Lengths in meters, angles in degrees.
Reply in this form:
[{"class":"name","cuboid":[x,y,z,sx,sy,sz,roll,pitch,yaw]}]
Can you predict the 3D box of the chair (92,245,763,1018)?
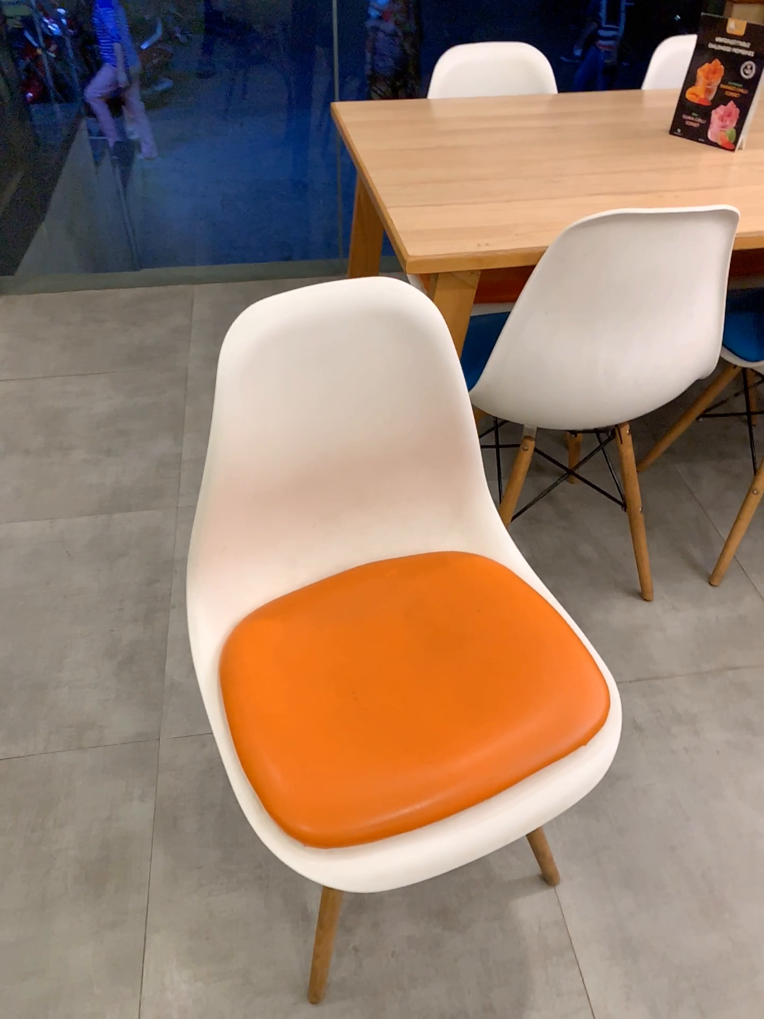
[{"class":"chair","cuboid":[0.010,0.155,0.924,0.470,0.704,0.484,-15,43,-17]}]
